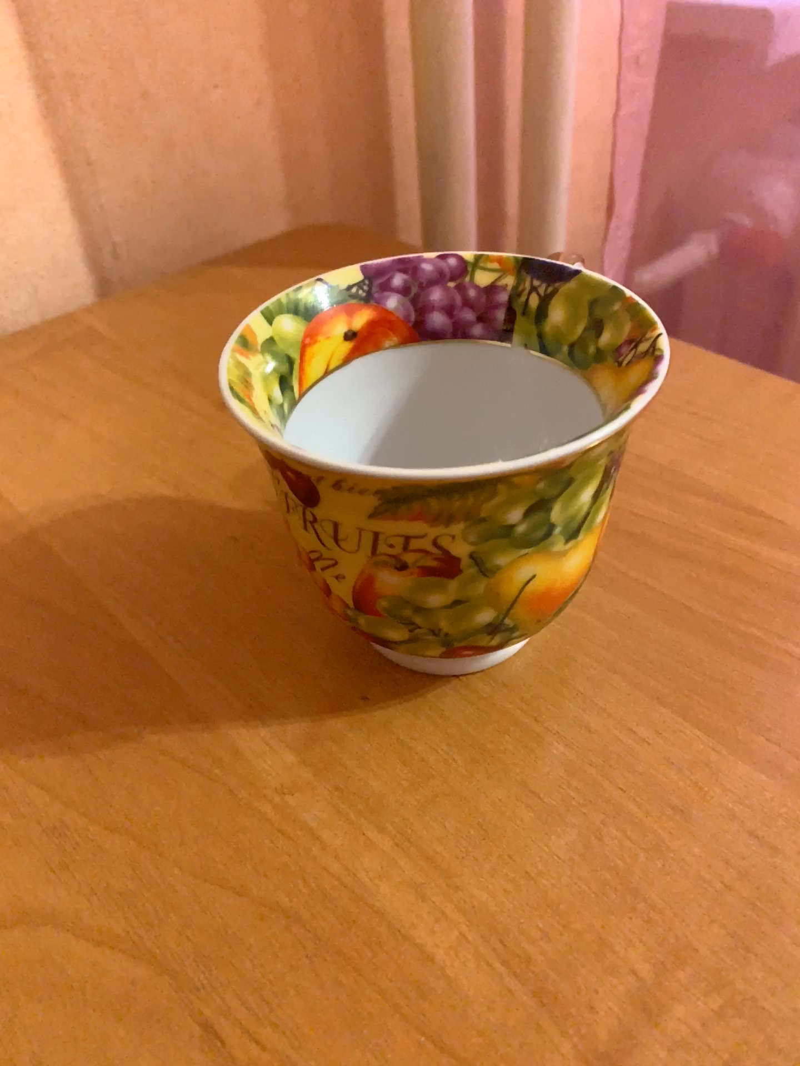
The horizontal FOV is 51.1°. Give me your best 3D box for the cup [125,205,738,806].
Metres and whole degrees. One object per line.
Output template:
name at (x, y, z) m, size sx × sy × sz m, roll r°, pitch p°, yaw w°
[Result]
cup at (0.016, -0.017, 0.190) m, size 0.086 × 0.071 × 0.106 m, roll 15°, pitch 44°, yaw 23°
